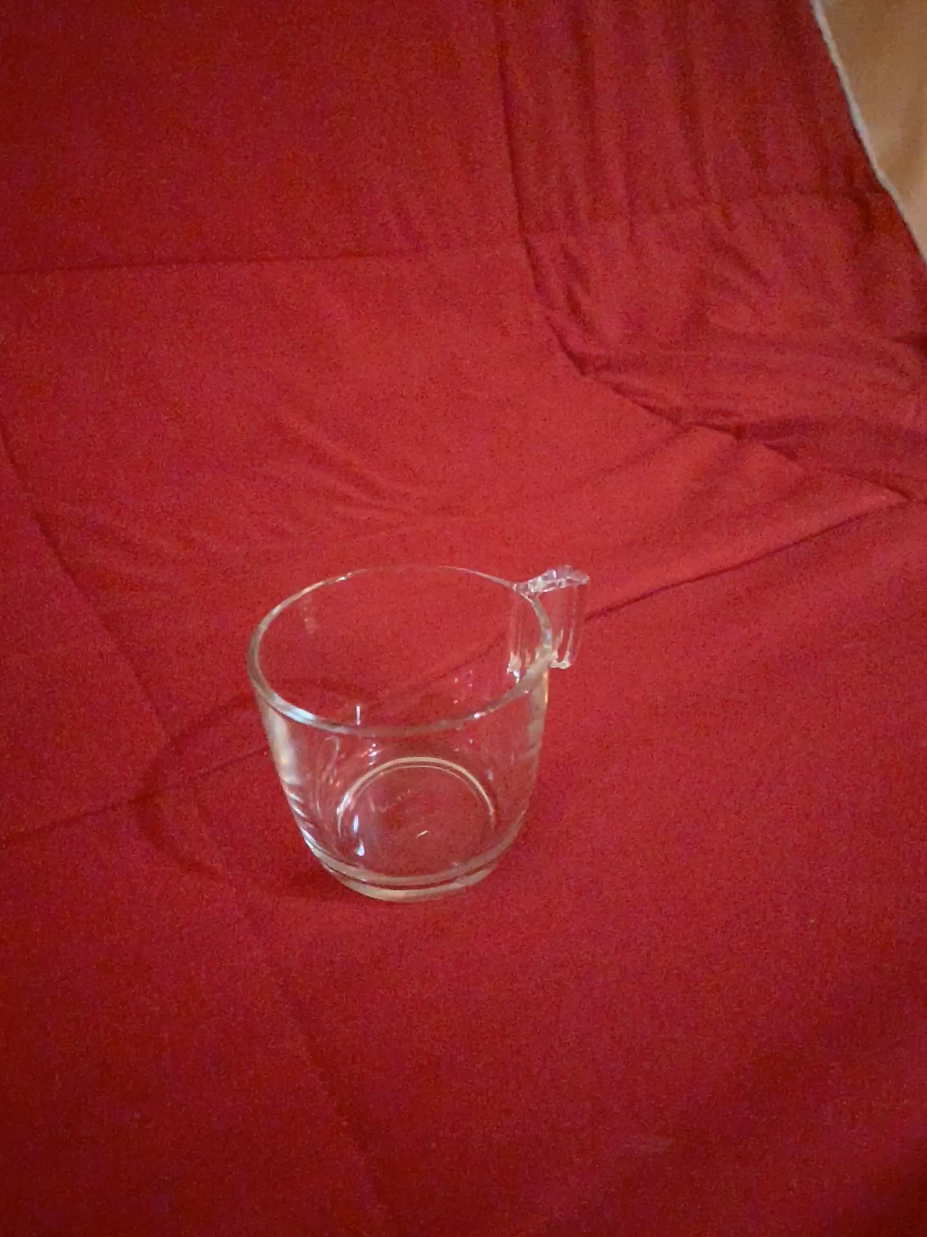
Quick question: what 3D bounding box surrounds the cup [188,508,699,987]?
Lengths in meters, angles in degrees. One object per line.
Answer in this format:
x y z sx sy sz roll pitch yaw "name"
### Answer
-0.006 0.030 0.291 0.117 0.069 0.090 -21 39 -27 "cup"
